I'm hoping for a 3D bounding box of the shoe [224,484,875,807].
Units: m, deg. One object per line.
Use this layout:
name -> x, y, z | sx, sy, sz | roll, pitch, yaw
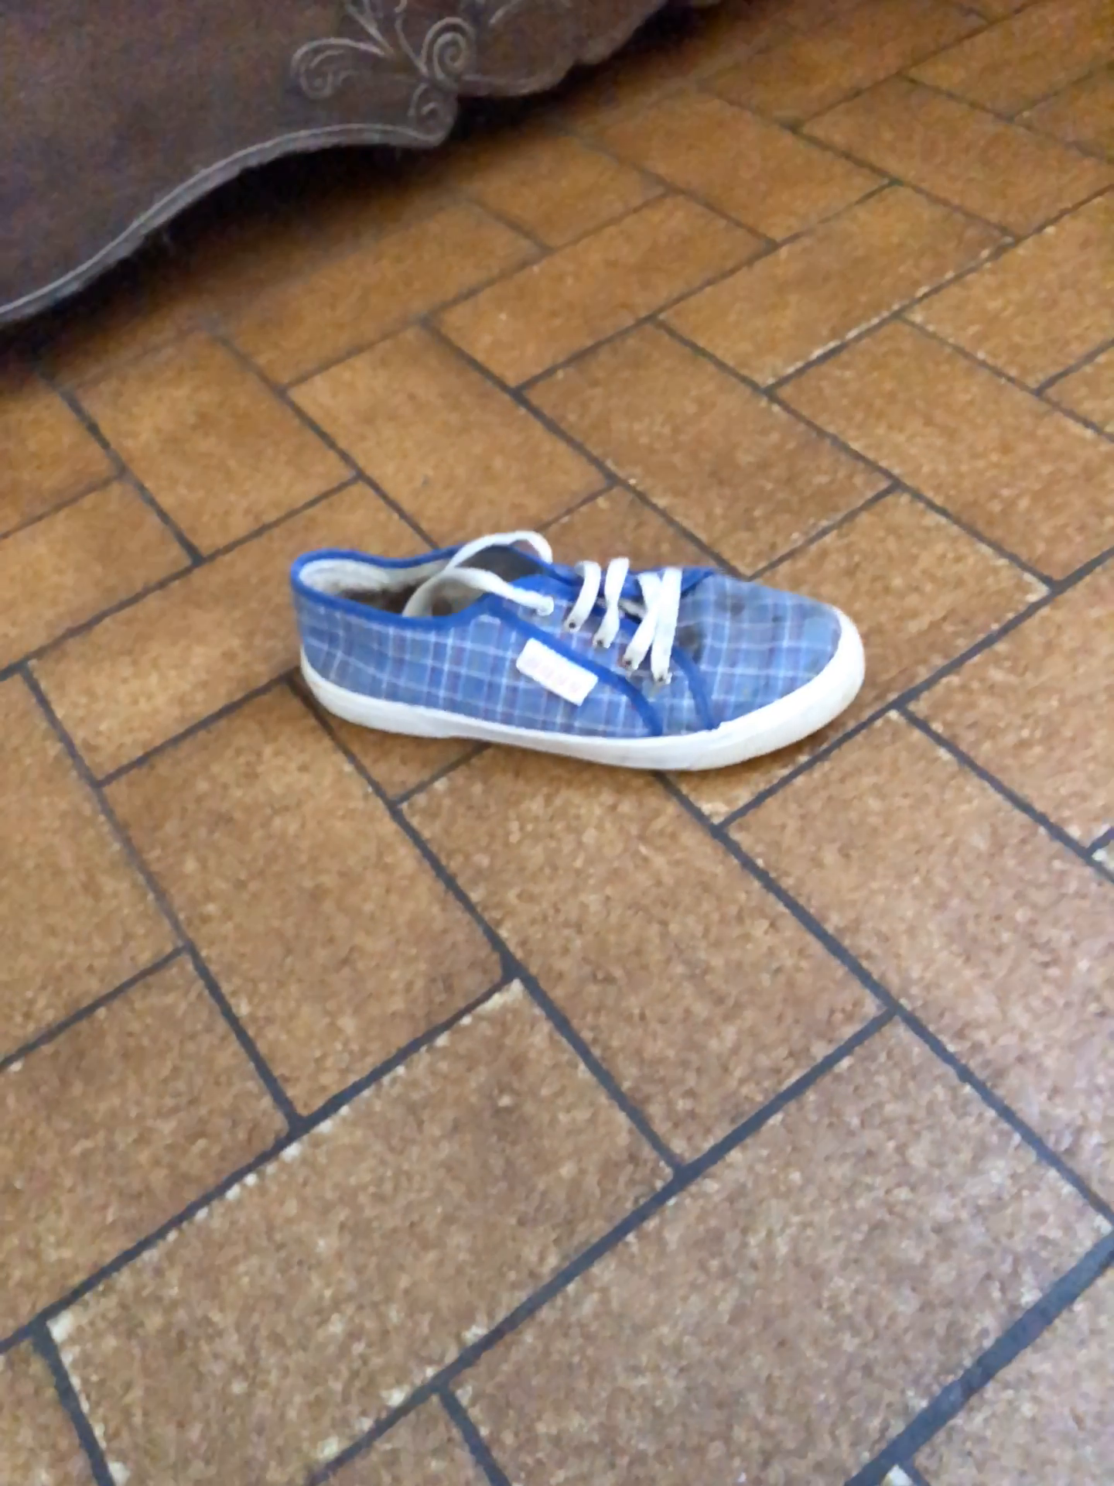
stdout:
shoe -> 0.003, -0.041, 0.509 | 0.240, 0.080, 0.101 | 1, 53, 9
